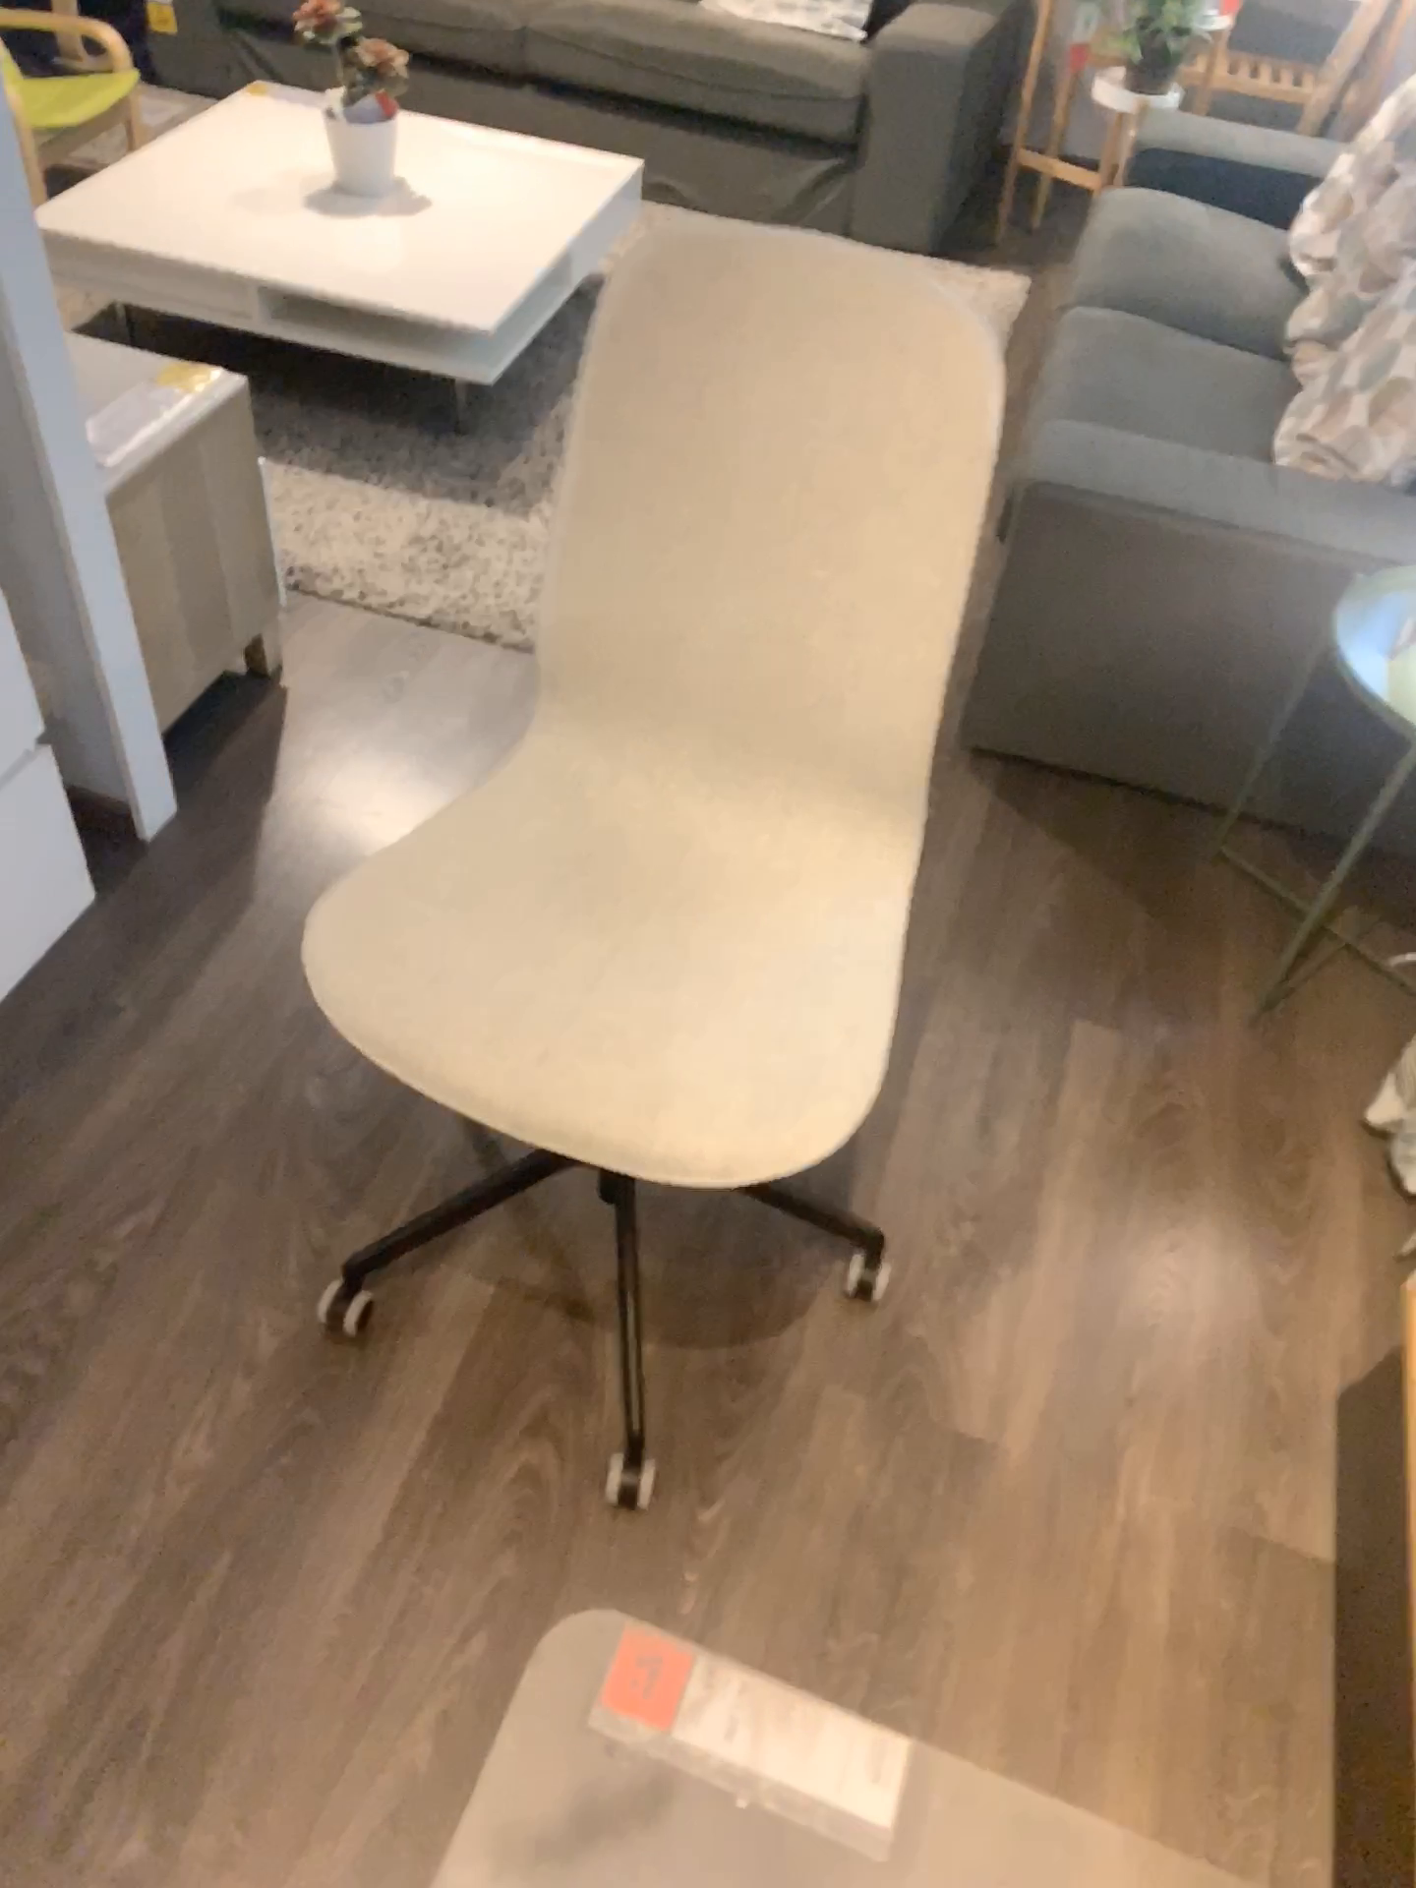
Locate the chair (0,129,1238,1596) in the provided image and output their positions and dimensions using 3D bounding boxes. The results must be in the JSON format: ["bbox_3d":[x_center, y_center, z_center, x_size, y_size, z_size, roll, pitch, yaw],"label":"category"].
[{"bbox_3d":[-0.037,-0.037,1.323,0.630,1.006,0.712,18,47,9],"label":"chair"}]
